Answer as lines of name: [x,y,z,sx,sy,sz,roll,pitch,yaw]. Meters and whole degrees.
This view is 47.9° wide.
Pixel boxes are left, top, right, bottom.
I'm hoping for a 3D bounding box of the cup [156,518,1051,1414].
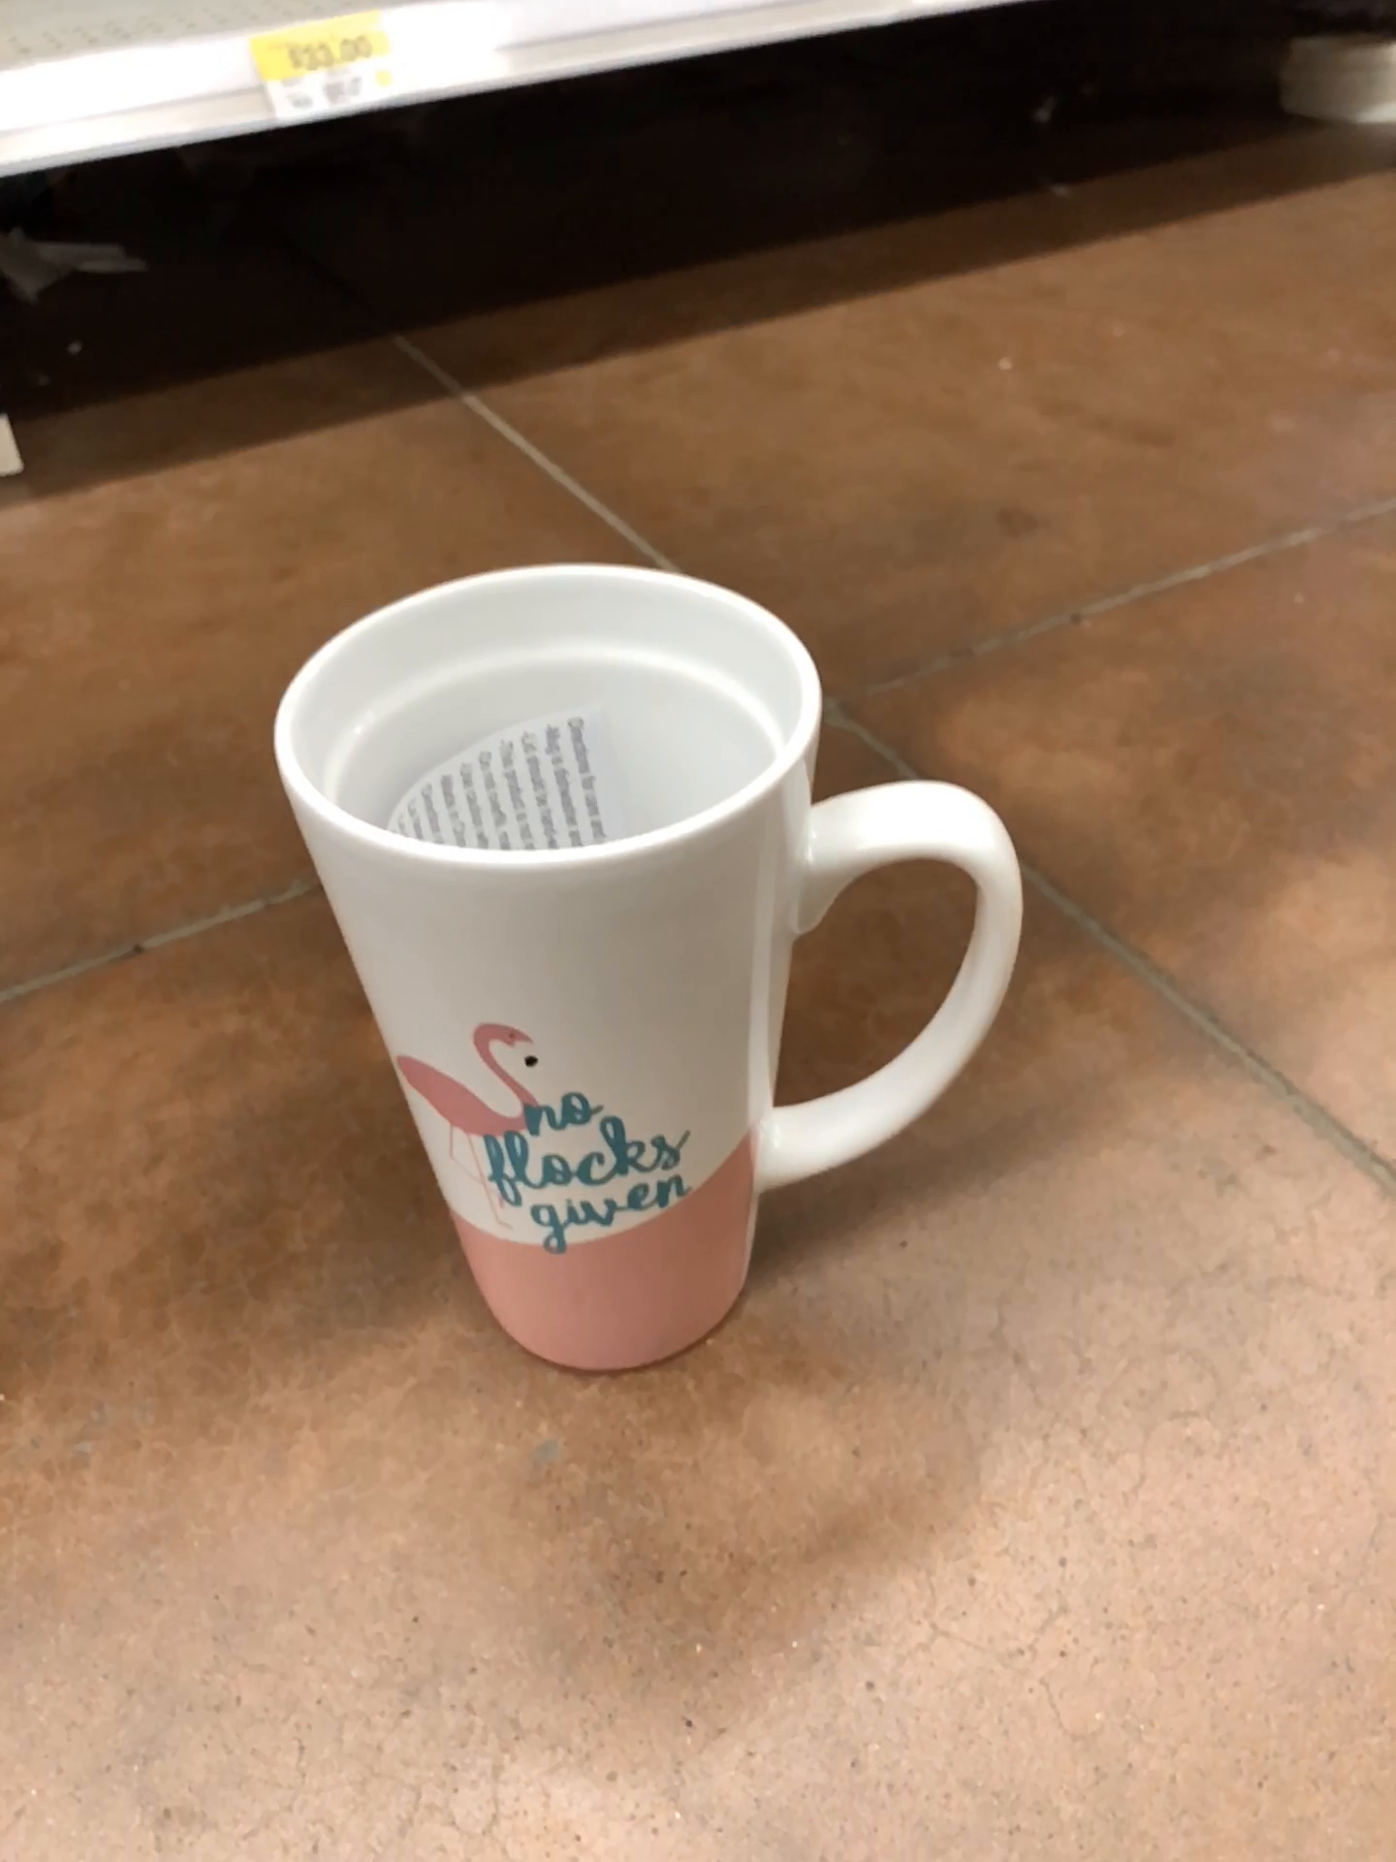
cup: [-0.011,0.009,0.311,0.130,0.139,0.100,-3,40,1]
